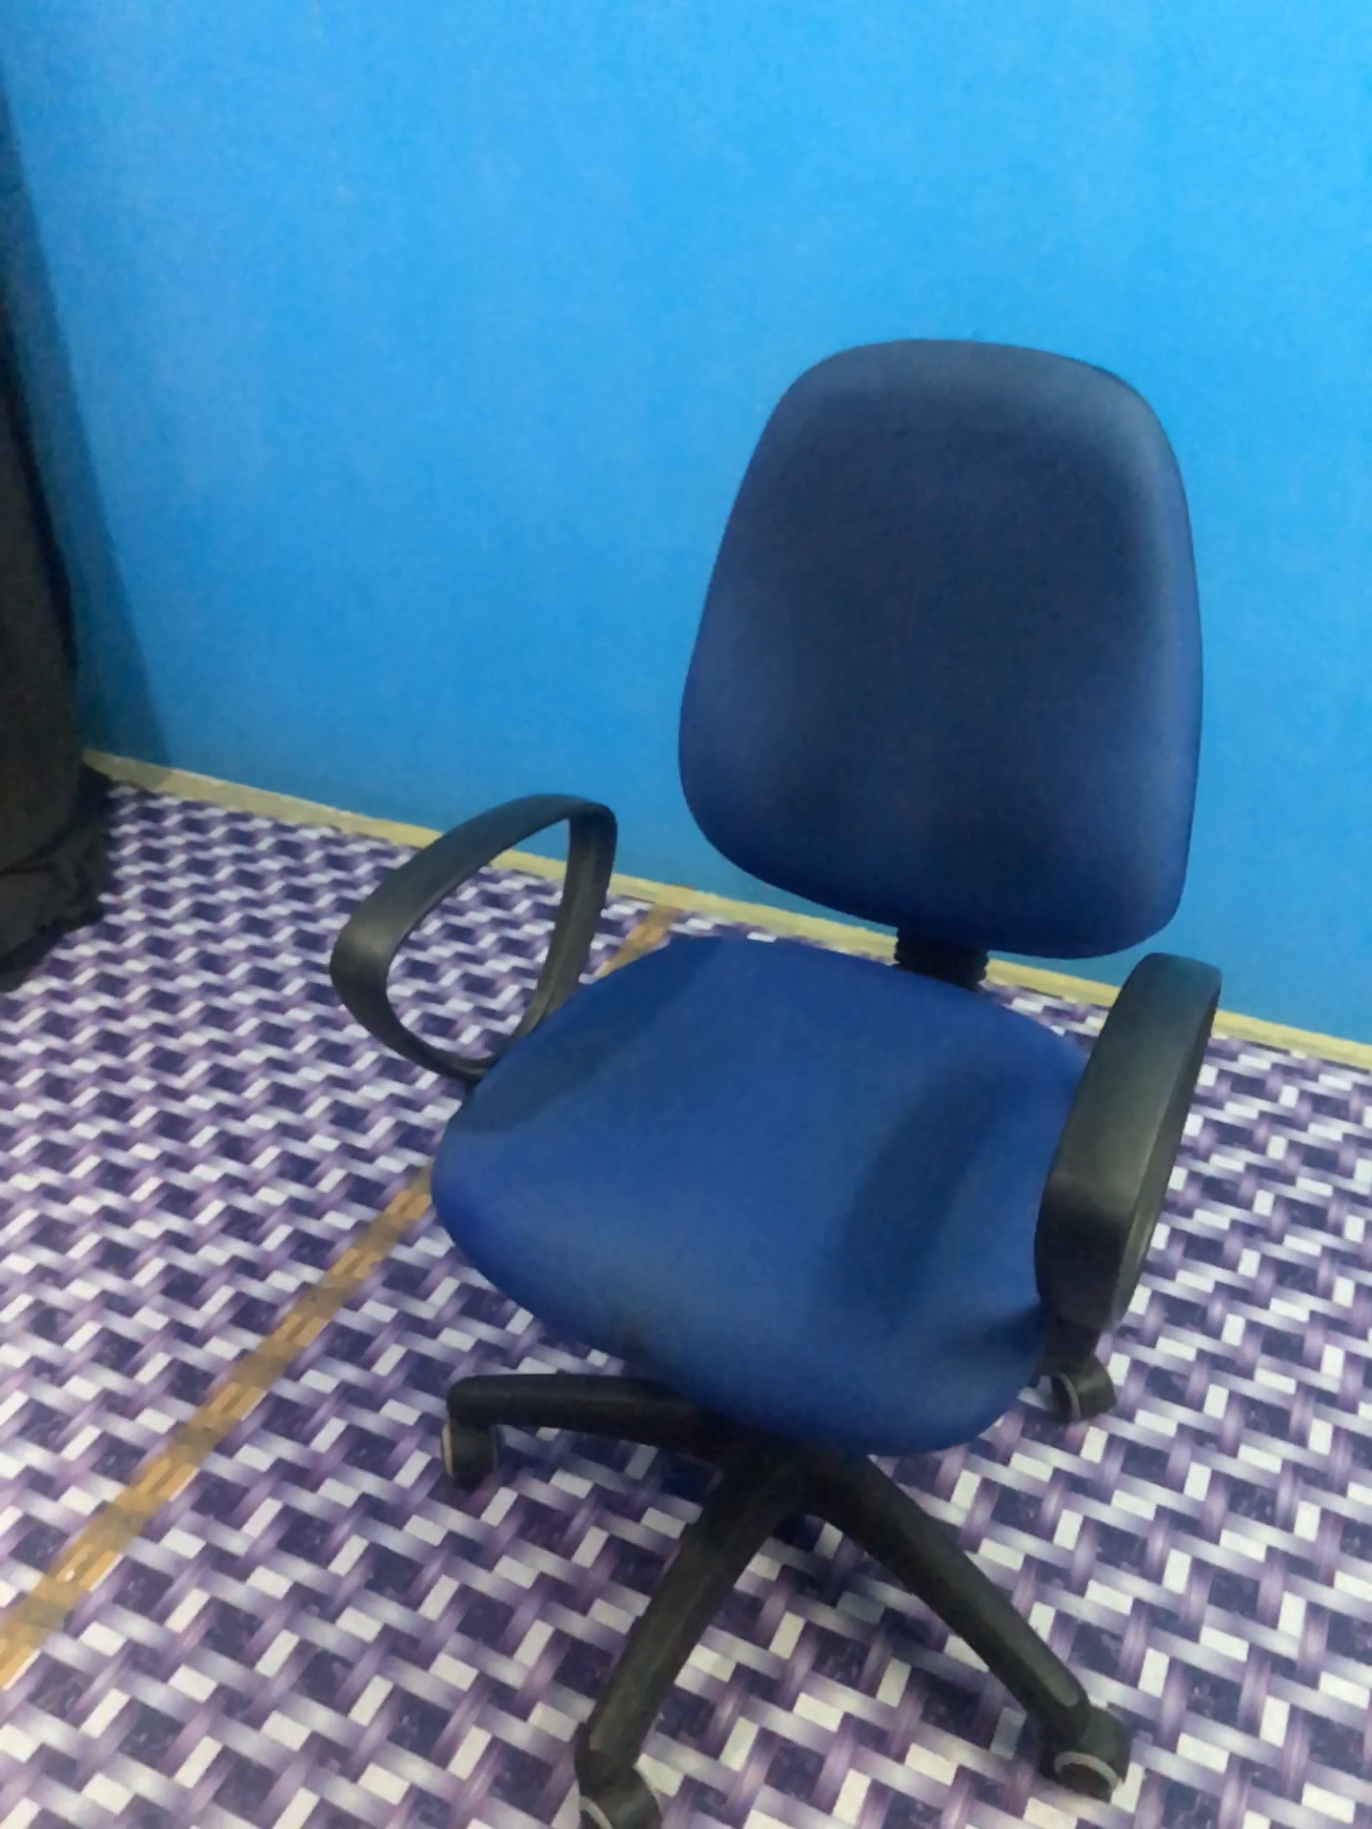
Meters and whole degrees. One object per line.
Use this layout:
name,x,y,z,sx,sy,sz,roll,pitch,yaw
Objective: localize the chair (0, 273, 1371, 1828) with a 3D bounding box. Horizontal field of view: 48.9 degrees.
chair,0.071,0.124,1.072,0.700,0.915,0.694,18,38,27
